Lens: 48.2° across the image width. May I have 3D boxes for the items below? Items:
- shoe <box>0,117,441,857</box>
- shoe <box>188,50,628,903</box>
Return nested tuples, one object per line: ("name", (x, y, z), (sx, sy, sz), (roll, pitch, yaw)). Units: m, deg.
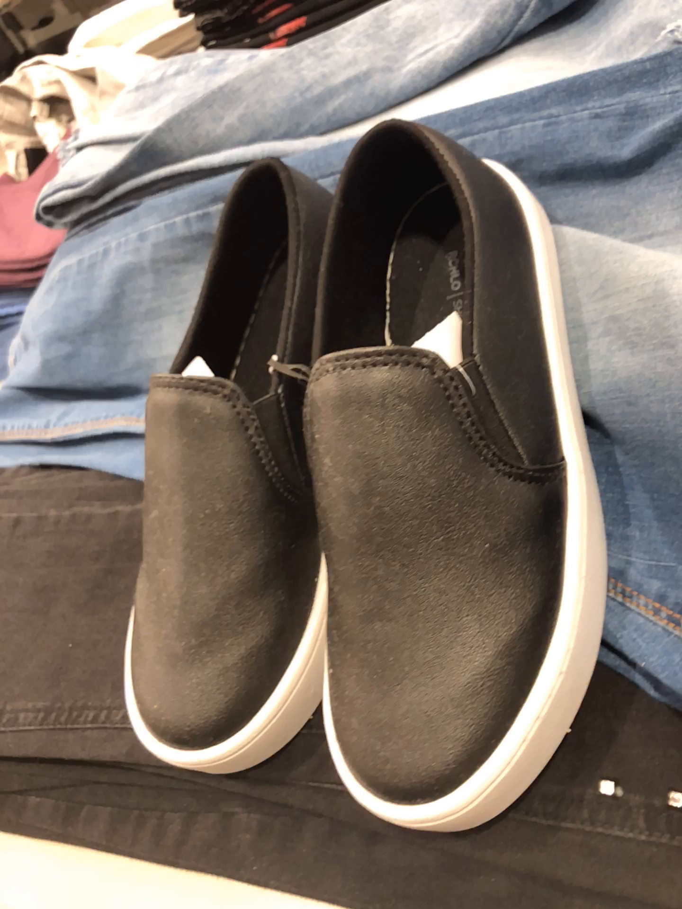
("shoe", (-0.047, 0.009, 0.325), (0.110, 0.099, 0.261), (1, 71, 32))
("shoe", (0.036, 0.003, 0.287), (0.110, 0.099, 0.261), (-6, 68, 27))
